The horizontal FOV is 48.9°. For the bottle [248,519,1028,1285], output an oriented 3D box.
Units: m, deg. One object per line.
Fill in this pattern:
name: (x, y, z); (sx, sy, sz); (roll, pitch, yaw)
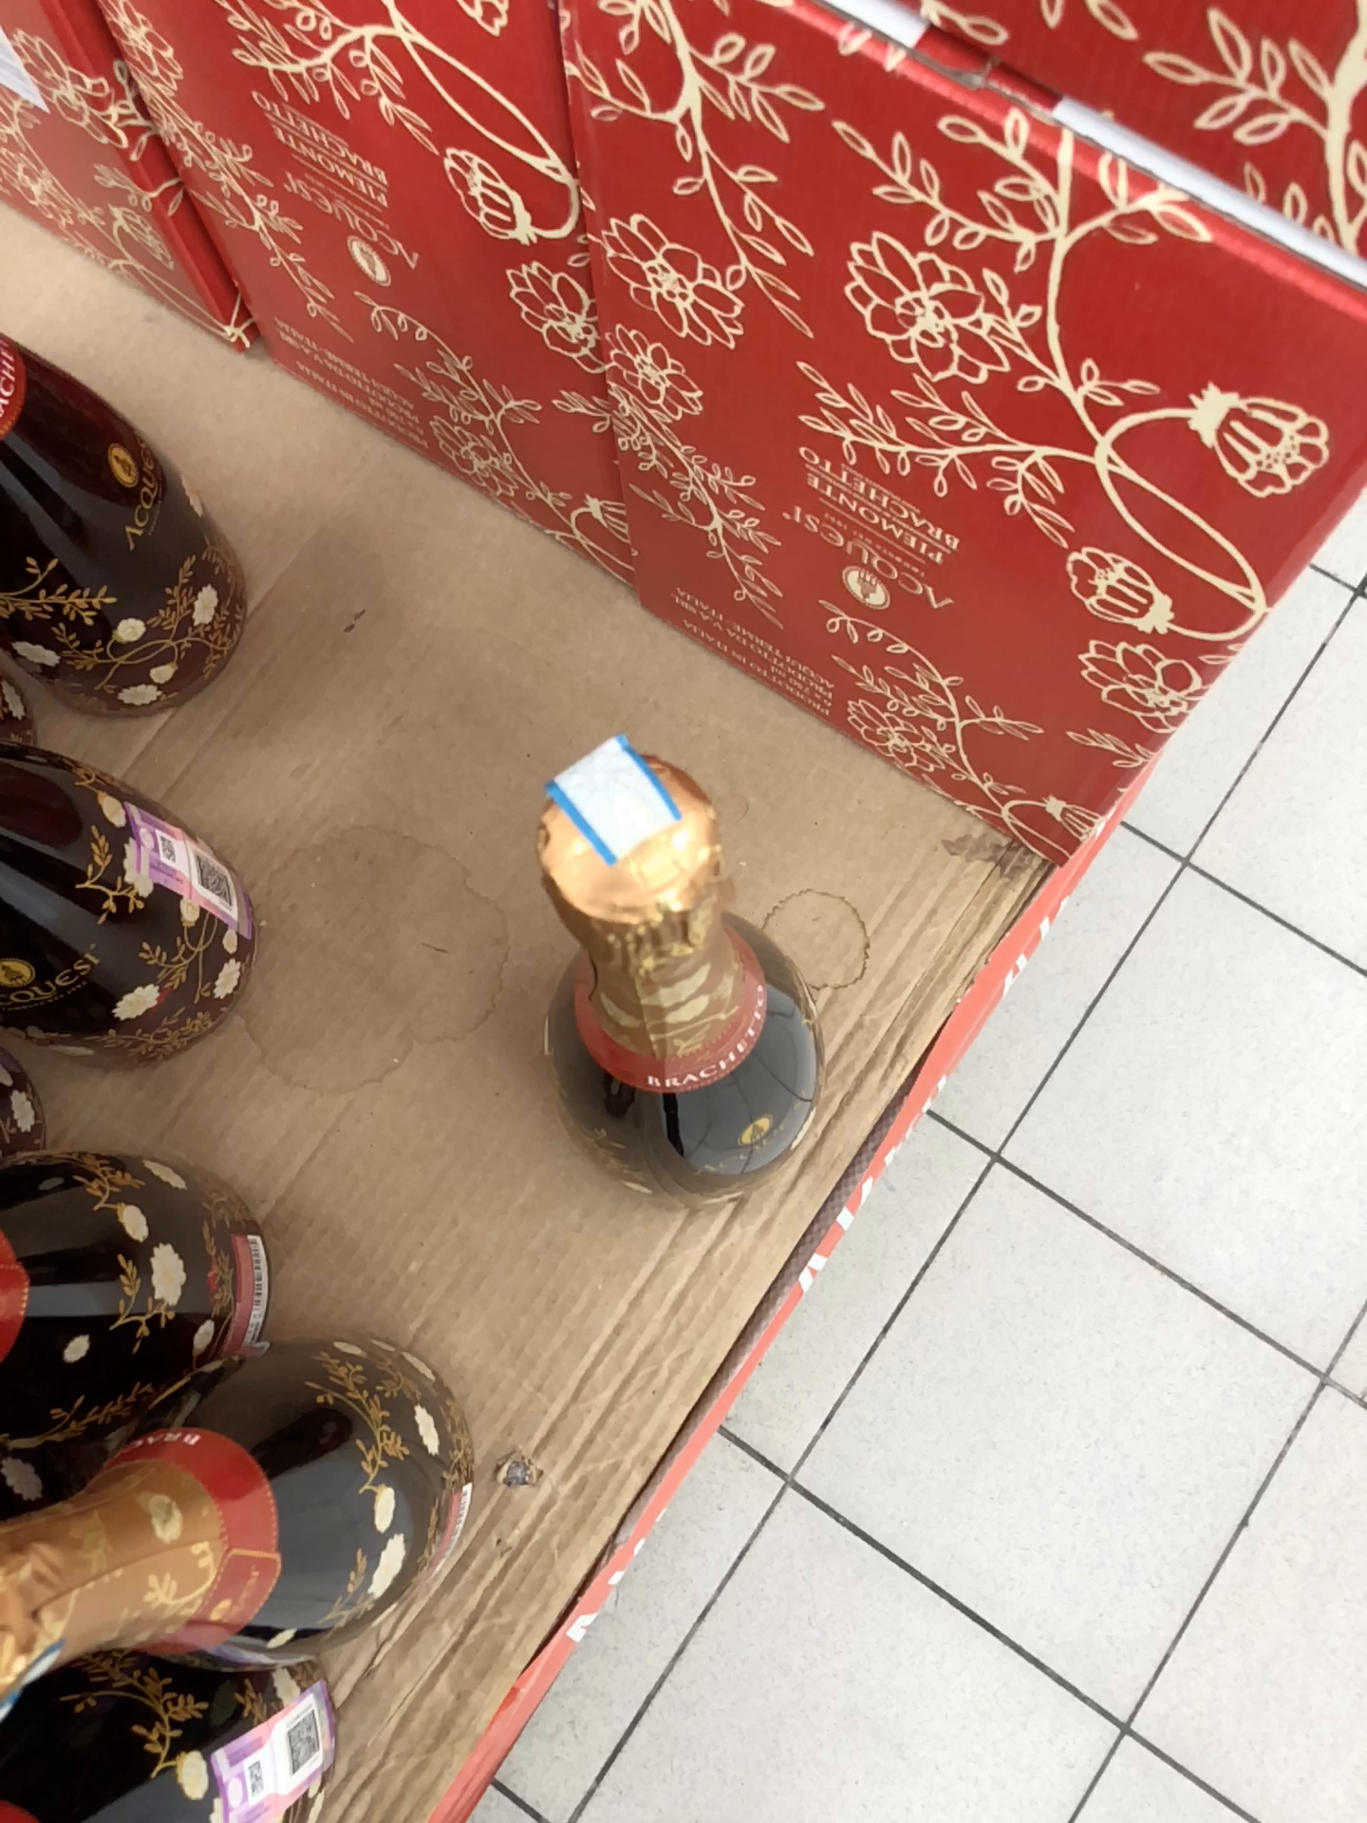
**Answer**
bottle: (-0.004, 0.028, 0.405); (0.100, 0.280, 0.100); (-1, 76, 2)
